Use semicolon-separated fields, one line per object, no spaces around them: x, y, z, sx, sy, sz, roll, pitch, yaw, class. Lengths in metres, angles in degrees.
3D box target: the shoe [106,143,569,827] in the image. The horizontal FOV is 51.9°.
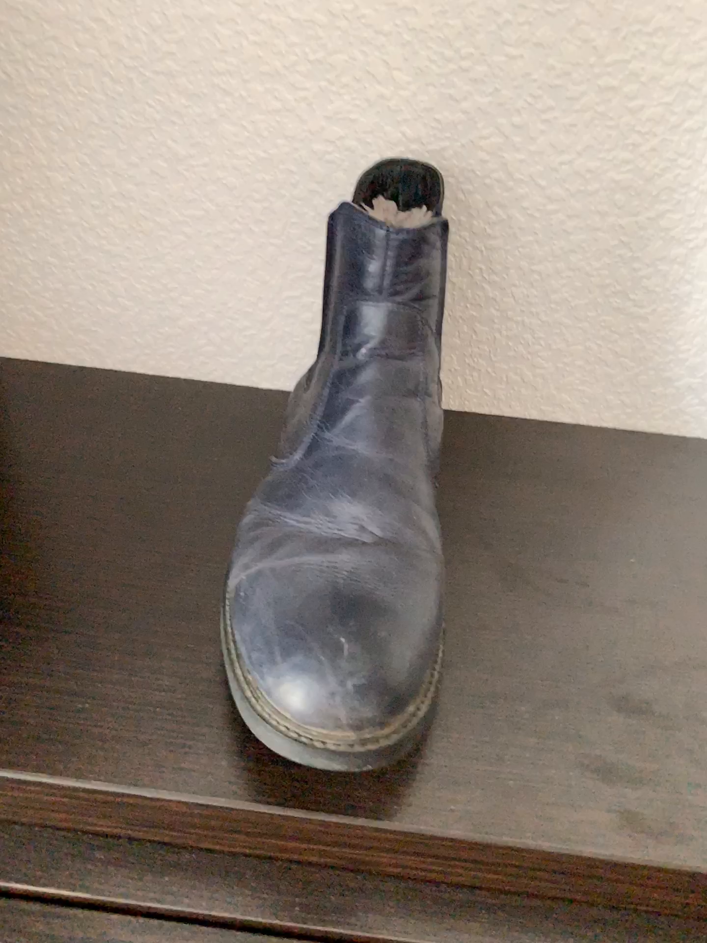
0.007;-0.031;0.339;0.110;0.159;0.302;7;36;3;shoe
